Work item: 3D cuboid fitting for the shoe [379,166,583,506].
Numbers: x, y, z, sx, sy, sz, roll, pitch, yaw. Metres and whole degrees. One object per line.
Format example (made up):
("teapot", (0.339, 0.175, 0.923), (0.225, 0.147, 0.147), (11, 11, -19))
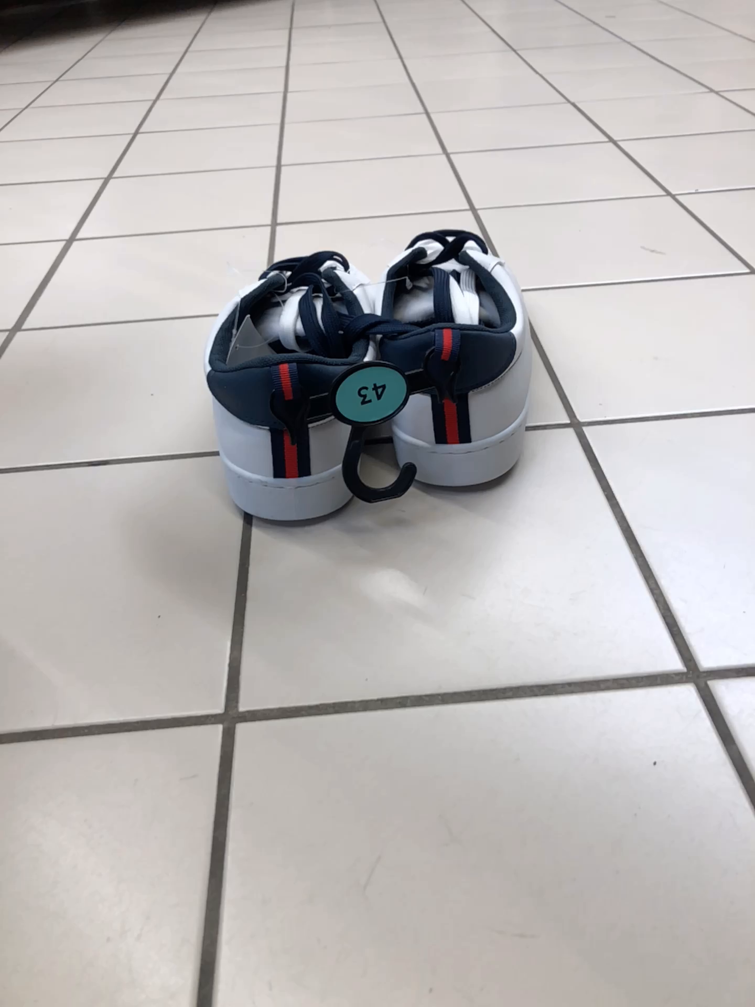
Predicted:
("shoe", (0.054, -0.129, 0.555), (0.100, 0.099, 0.292), (-3, 37, 2))

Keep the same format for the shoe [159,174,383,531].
("shoe", (-0.050, -0.115, 0.535), (0.100, 0.099, 0.292), (-3, 37, 2))
